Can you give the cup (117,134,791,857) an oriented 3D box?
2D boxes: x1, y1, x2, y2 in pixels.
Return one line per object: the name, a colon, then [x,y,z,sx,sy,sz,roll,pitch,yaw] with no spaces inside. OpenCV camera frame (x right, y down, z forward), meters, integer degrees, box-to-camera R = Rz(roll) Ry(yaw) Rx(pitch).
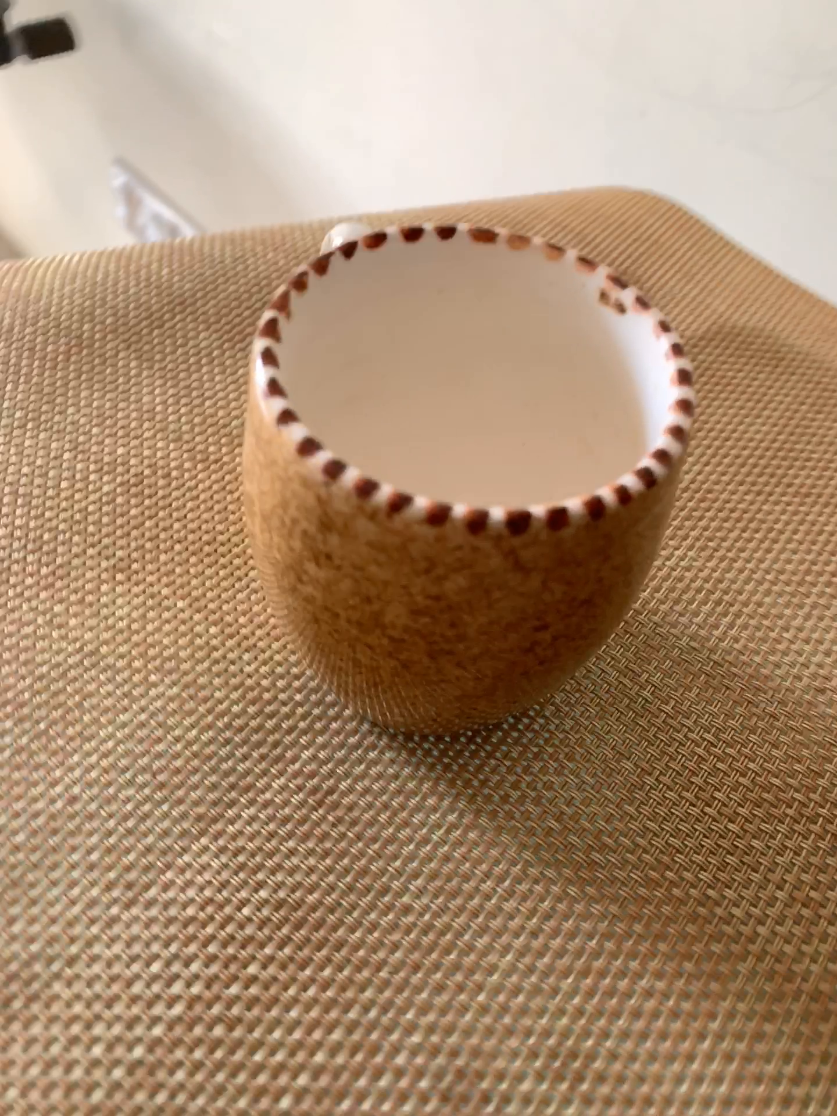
cup: [-0.005,-0.014,0.150,0.070,0.069,0.091,-11,54,-14]
